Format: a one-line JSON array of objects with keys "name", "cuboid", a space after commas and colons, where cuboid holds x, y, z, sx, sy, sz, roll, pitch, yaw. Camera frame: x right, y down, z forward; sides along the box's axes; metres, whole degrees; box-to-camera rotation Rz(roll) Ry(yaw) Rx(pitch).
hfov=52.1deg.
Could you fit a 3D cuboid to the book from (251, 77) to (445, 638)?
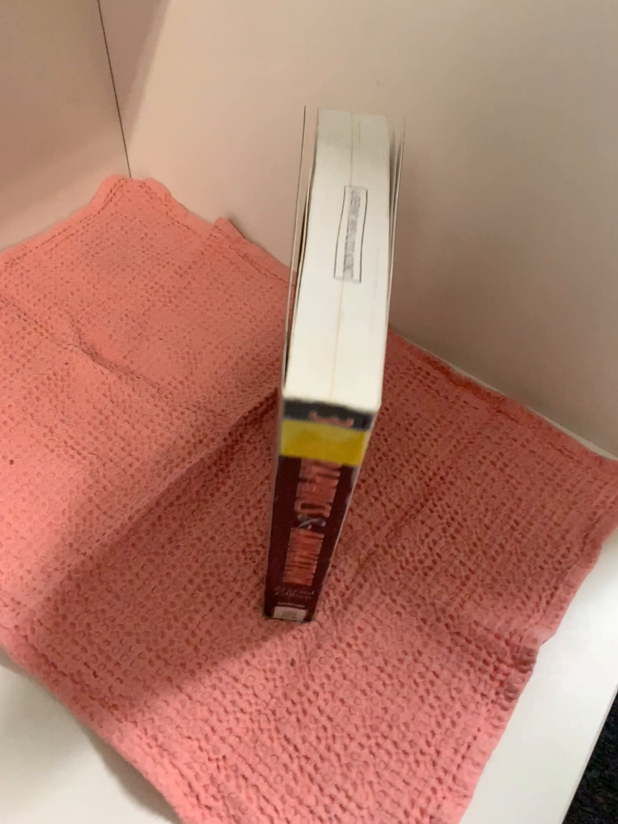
[{"name": "book", "cuboid": [0.012, -0.019, 0.363, 0.060, 0.228, 0.222, 6, 54, -2]}]
